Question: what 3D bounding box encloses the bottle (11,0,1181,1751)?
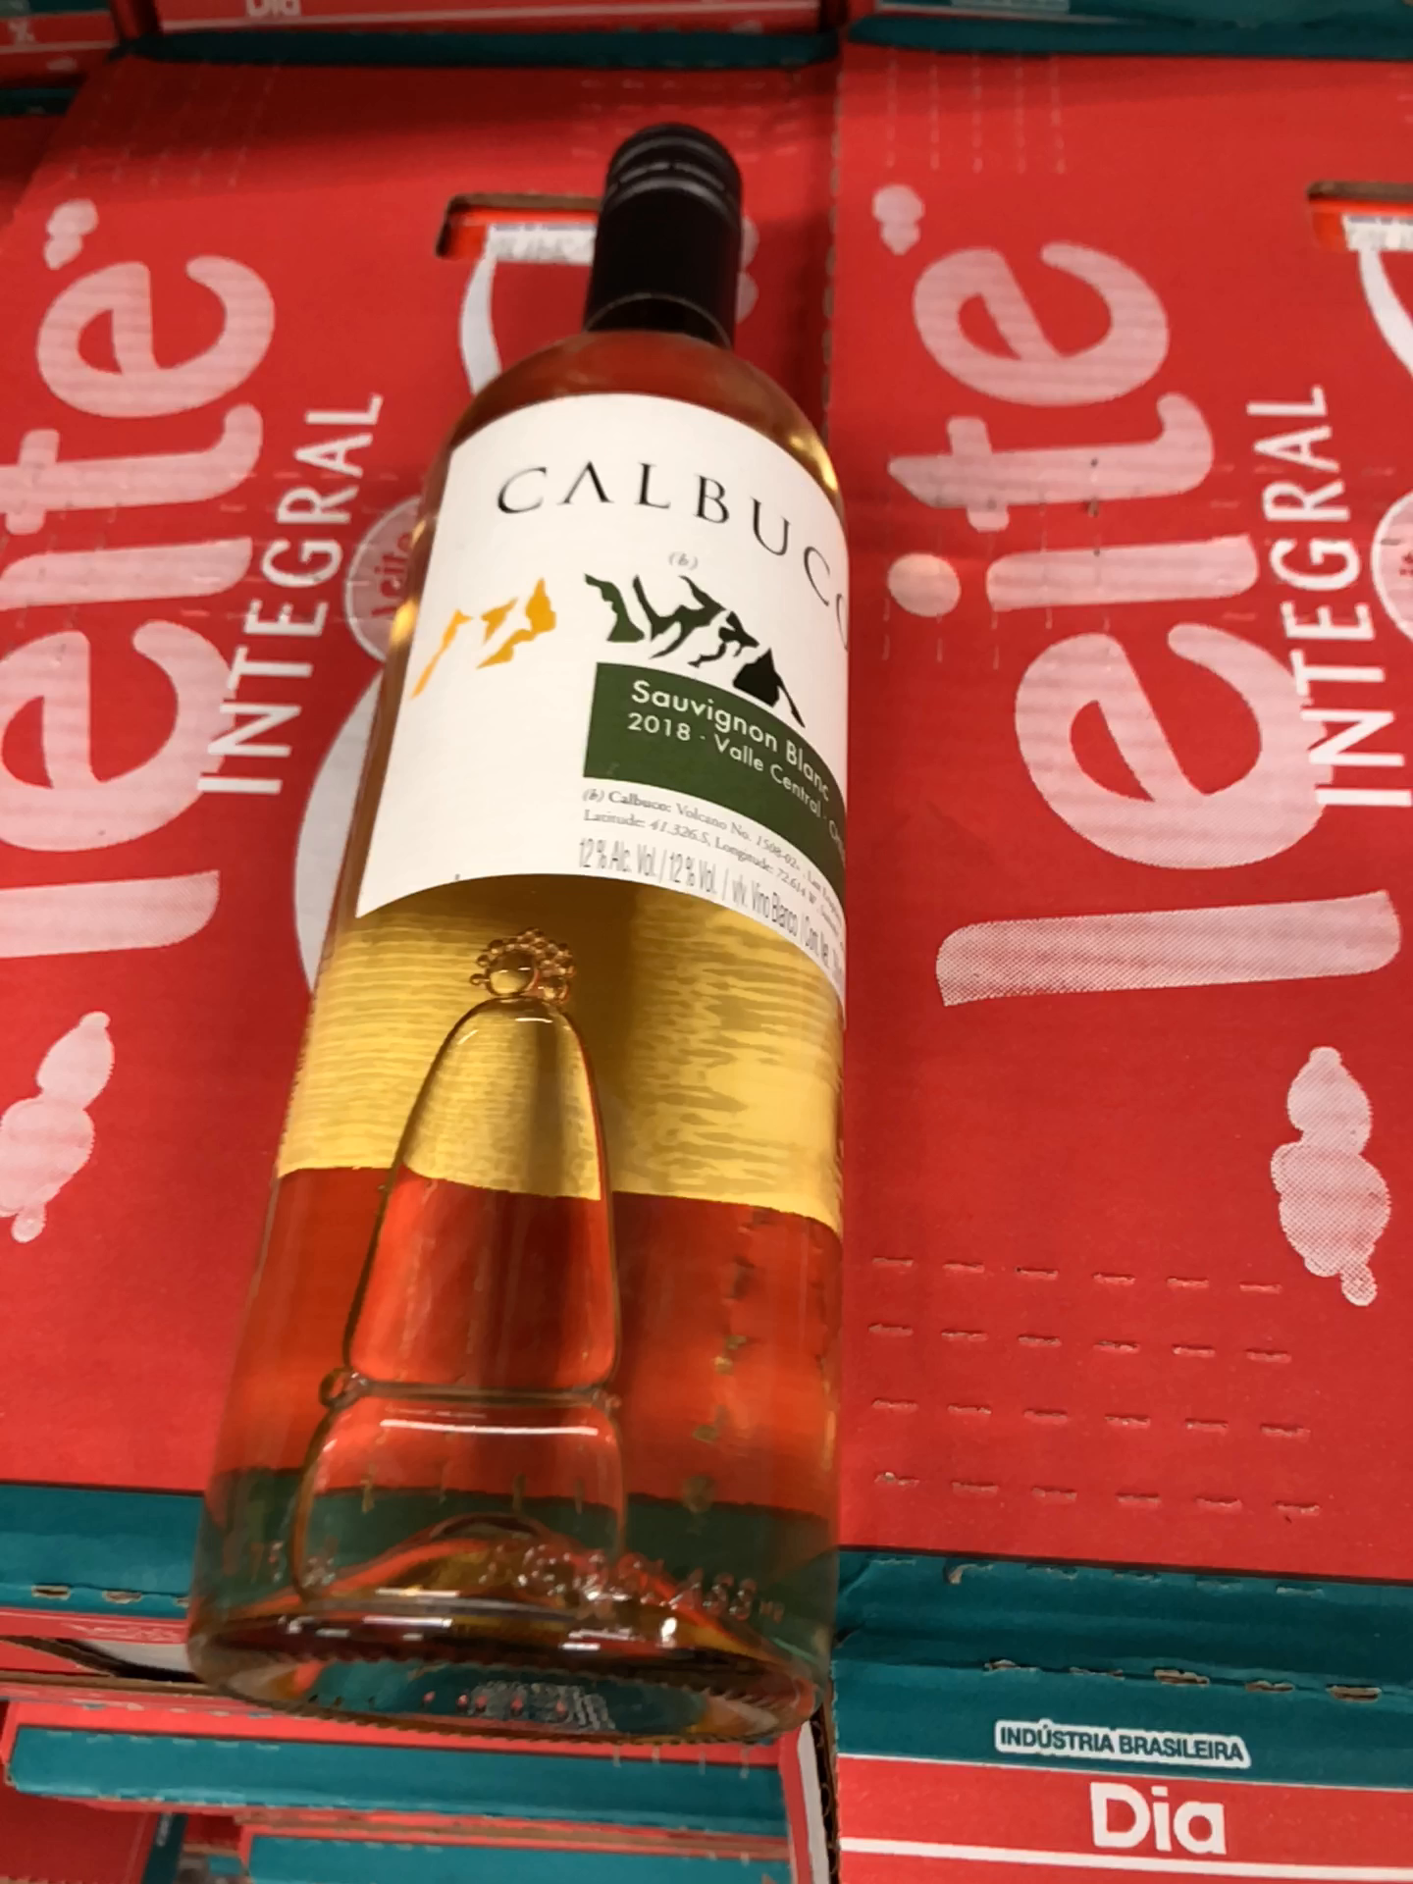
[{"bbox_3d":[-0.011,-0.042,0.245,0.090,0.100,0.291,20,56,-27],"label":"bottle"}]
